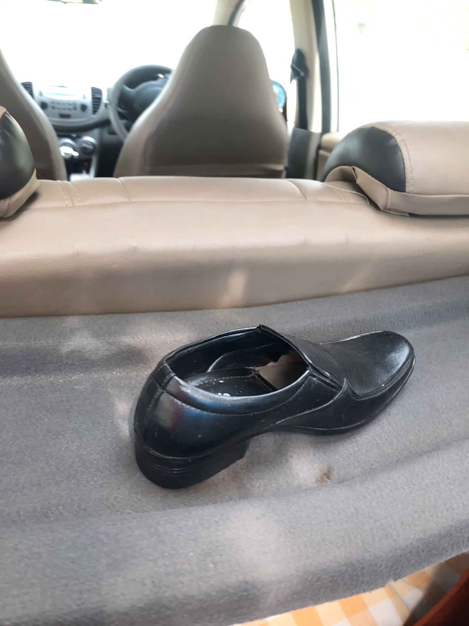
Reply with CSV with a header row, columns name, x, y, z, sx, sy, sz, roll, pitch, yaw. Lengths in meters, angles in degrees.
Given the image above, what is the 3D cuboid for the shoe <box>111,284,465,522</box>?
name,x,y,z,sx,sy,sz,roll,pitch,yaw
shoe,0.056,0.055,0.448,0.301,0.080,0.100,-13,34,-33
